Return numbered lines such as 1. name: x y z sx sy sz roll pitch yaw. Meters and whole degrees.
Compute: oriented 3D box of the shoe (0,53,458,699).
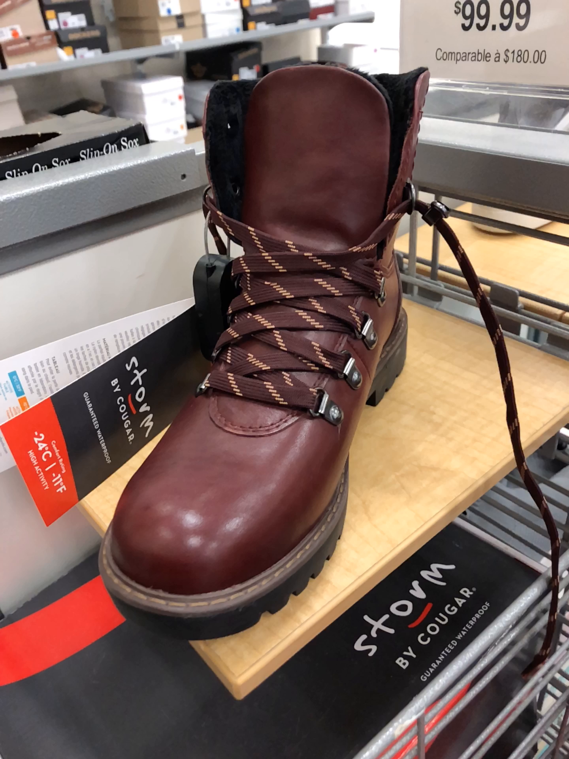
1. shoe: -0.007 -0.031 0.278 0.107 0.169 0.232 10 36 22
